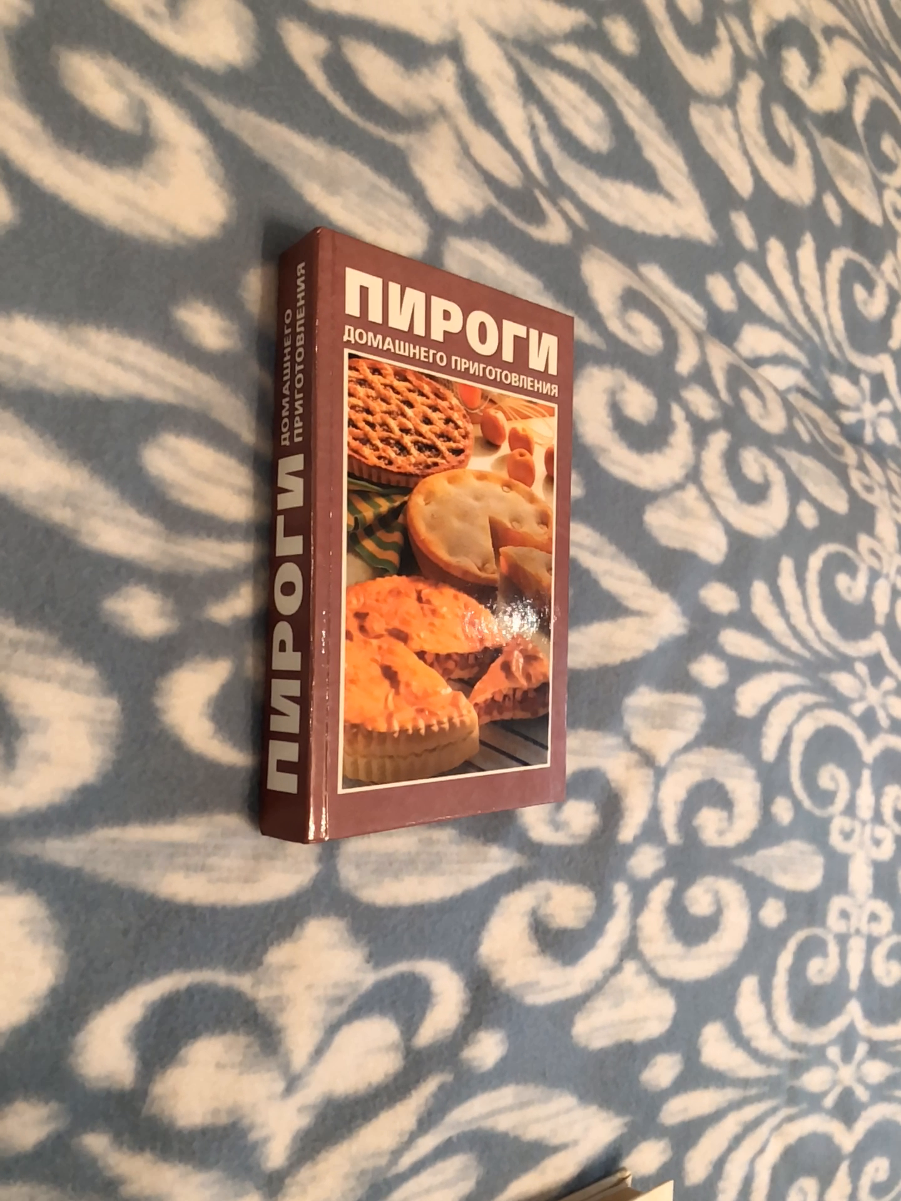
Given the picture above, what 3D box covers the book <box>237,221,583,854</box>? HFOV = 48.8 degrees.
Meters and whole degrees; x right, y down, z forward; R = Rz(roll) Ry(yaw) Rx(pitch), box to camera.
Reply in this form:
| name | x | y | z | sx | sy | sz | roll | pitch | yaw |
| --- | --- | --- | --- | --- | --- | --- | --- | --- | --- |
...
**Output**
| name | x | y | z | sx | sy | sz | roll | pitch | yaw |
| --- | --- | --- | --- | --- | --- | --- | --- | --- | --- |
| book | -0.009 | -0.018 | 0.373 | 0.132 | 0.040 | 0.200 | 4 | 87 | -44 |
